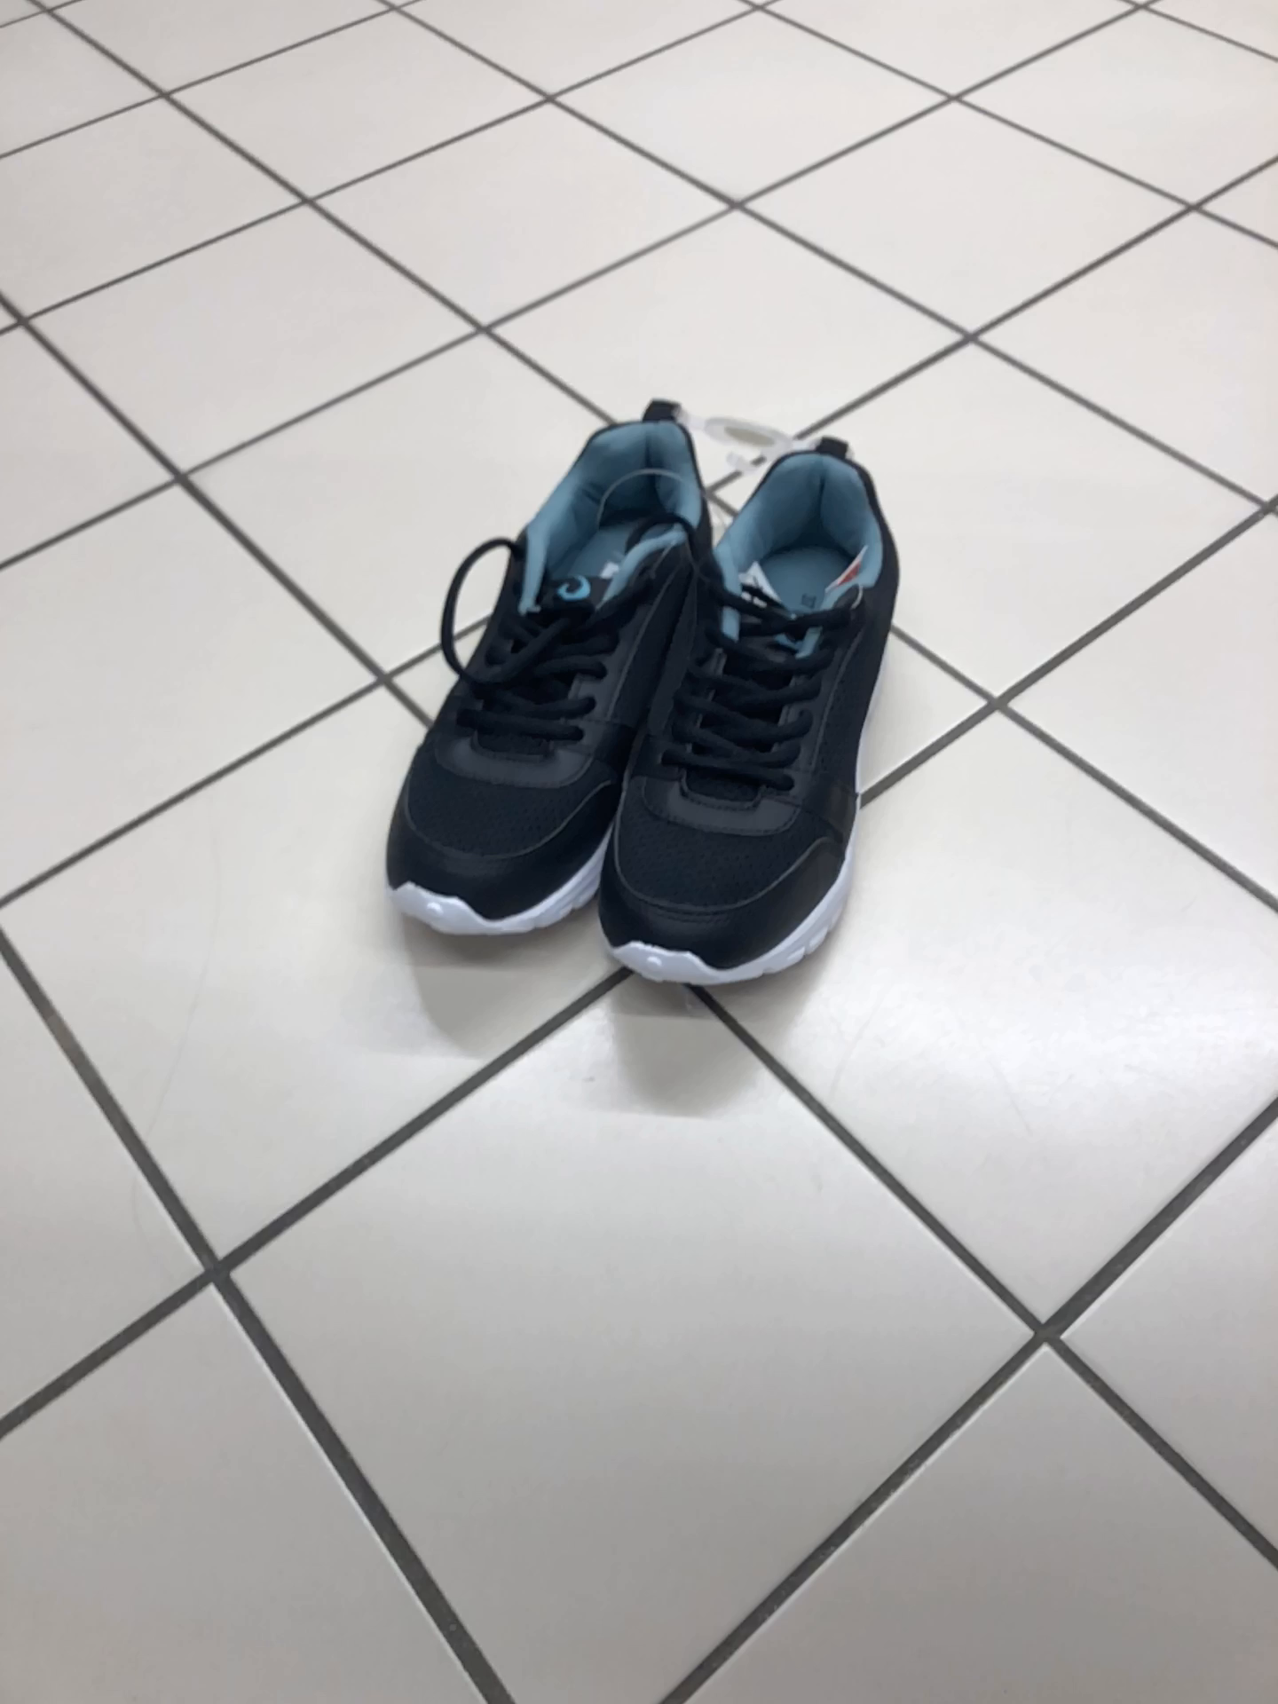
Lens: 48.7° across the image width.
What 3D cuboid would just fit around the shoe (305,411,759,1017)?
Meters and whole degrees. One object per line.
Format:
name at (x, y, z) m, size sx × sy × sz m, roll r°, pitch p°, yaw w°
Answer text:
shoe at (-0.030, -0.067, 0.593) m, size 0.100 × 0.100 × 0.241 m, roll 10°, pitch 54°, yaw 15°

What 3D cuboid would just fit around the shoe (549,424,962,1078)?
shoe at (0.055, -0.050, 0.577) m, size 0.100 × 0.109 × 0.241 m, roll 12°, pitch 54°, yaw 12°
